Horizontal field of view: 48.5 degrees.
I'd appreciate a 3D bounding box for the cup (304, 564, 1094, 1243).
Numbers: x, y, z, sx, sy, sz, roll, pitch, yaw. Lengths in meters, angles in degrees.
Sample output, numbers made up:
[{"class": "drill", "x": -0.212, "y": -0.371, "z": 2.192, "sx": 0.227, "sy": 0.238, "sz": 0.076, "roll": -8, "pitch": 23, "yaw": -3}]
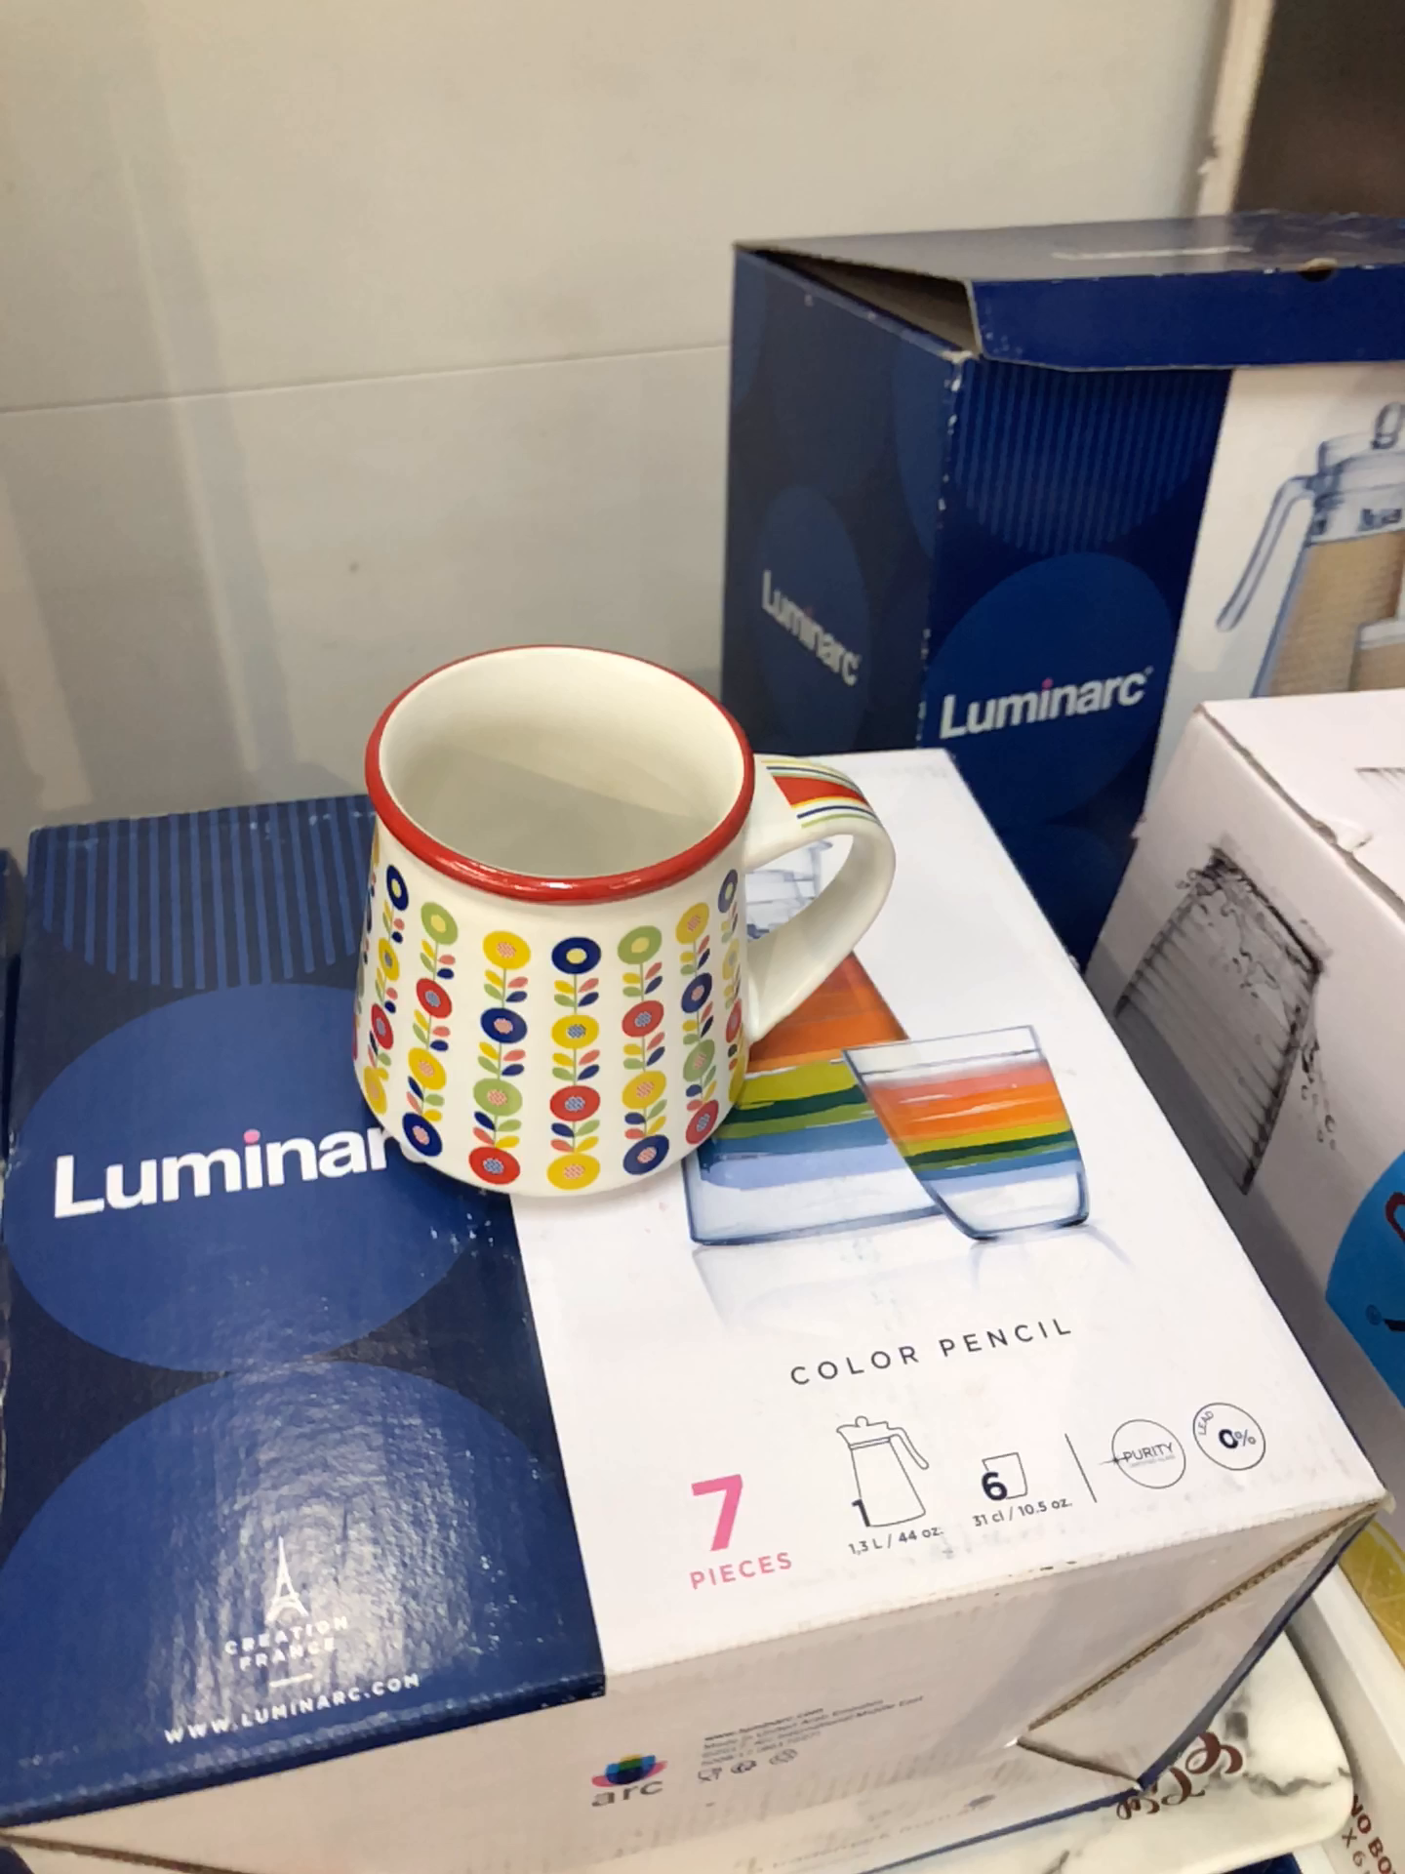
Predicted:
[{"class": "cup", "x": -0.006, "y": -0.009, "z": 0.322, "sx": 0.130, "sy": 0.089, "sz": 0.080, "roll": -10, "pitch": 46, "yaw": -14}]
